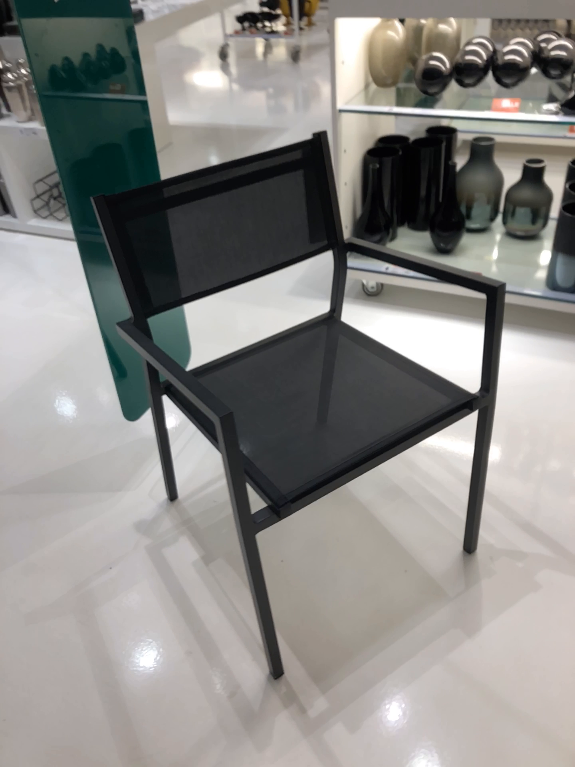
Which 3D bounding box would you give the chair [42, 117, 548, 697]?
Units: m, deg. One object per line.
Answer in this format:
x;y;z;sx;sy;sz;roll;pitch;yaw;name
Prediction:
0.002;0.012;1.254;0.571;0.794;0.604;-24;42;-23;chair
